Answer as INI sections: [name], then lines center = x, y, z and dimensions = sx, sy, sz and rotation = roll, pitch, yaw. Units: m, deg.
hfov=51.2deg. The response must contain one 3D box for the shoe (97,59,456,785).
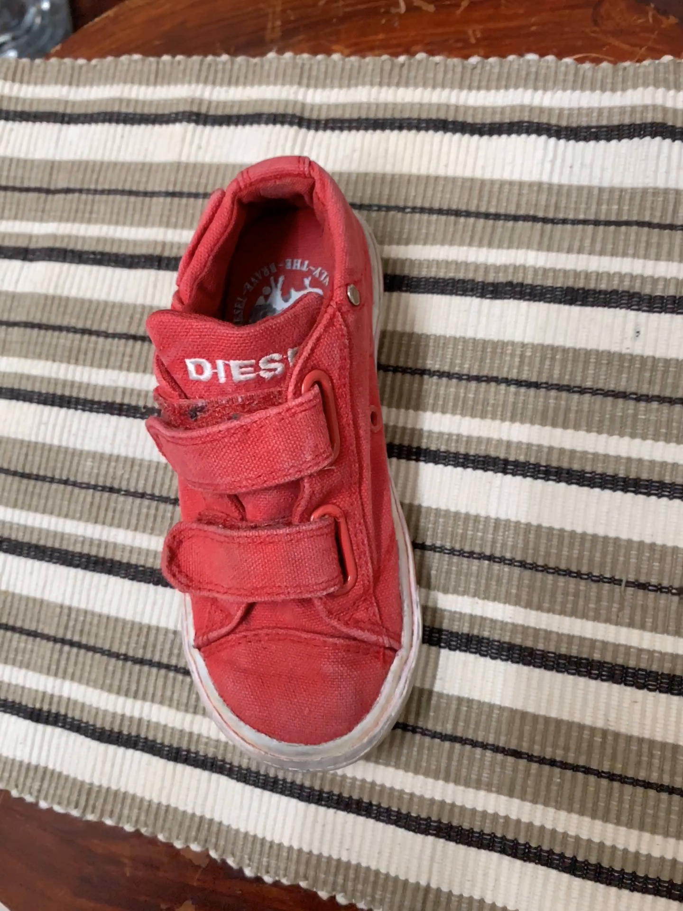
[shoe]
center = -0.013, -0.008, 0.208
dimensions = 0.080, 0.070, 0.170
rotation = -3, 82, 14
